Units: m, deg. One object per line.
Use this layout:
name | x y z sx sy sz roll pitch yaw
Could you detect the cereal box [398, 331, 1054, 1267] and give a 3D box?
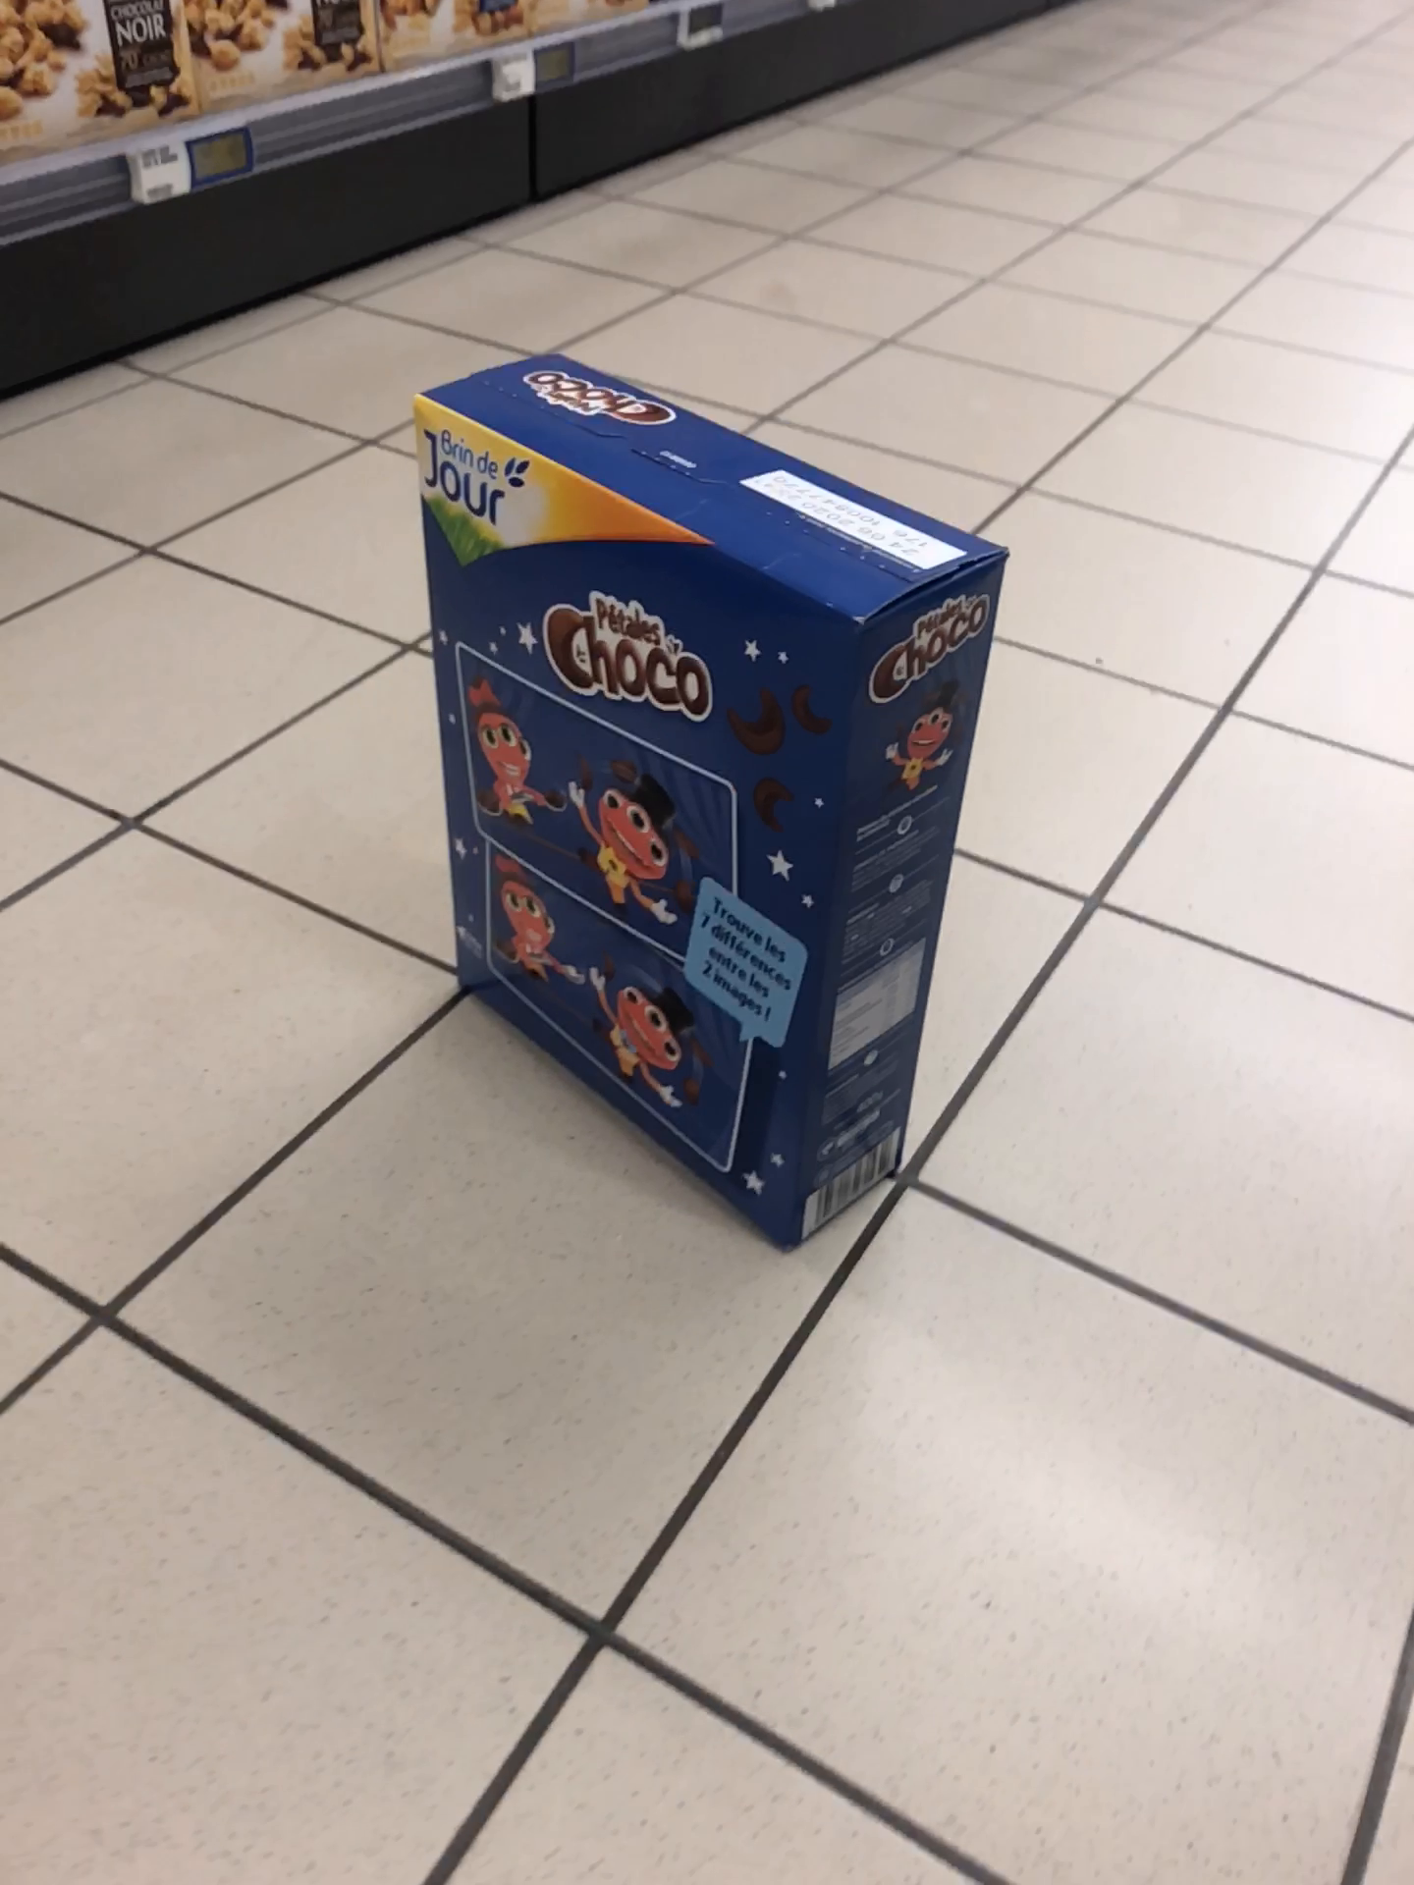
cereal box | -0.007 -0.048 0.530 0.070 0.248 0.200 -30 49 -35
